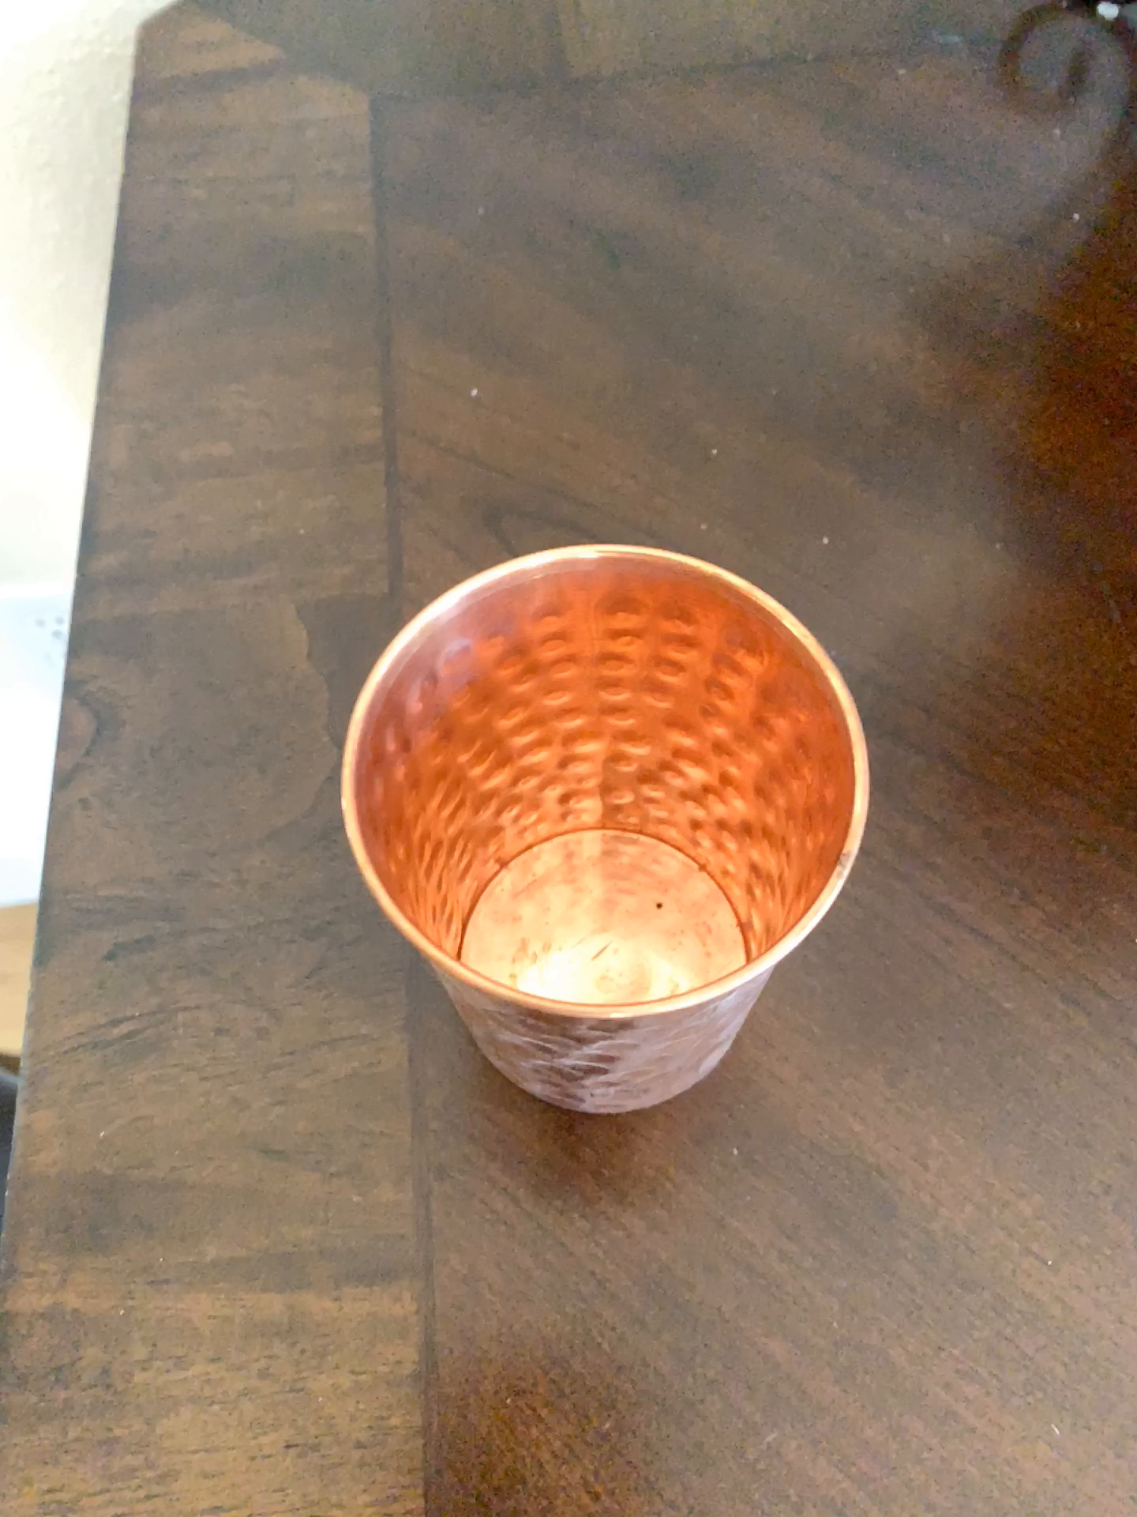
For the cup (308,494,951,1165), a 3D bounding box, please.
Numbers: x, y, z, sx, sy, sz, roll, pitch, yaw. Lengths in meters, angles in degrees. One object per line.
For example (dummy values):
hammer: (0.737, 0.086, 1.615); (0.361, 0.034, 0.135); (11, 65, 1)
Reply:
cup: (0.005, 0.016, 0.191); (0.070, 0.083, 0.066); (0, 61, 0)
